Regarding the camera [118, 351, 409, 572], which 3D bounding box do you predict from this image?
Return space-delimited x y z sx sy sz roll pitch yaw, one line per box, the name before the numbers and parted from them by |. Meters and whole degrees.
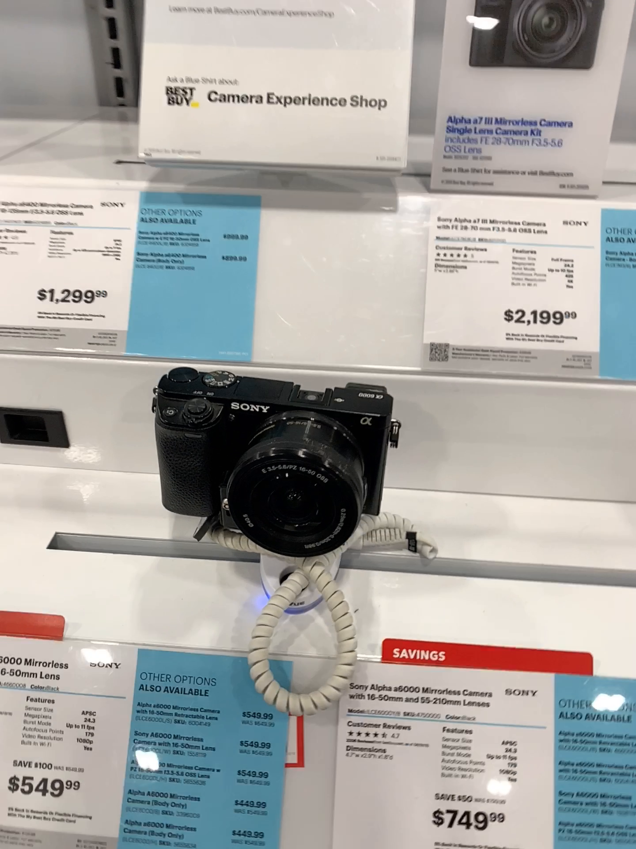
camera | -0.023 0.017 0.338 0.130 0.080 0.060 6 33 7
